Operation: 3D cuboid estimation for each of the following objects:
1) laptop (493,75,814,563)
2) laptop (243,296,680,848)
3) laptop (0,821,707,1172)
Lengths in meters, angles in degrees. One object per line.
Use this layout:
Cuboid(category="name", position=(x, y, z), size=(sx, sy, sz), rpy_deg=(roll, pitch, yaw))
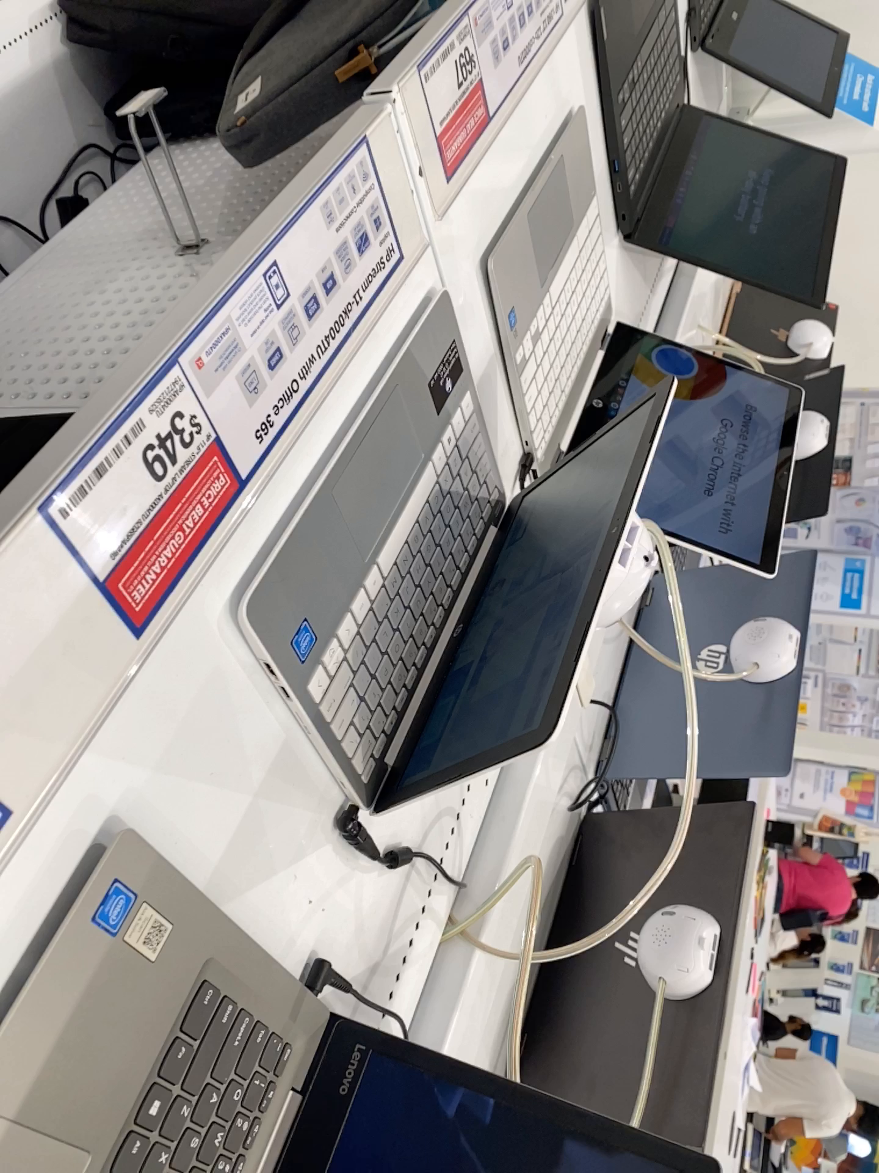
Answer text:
Cuboid(category="laptop", position=(0.205, -0.221, 0.784), size=(0.298, 0.189, 0.258), rpy_deg=(70, 35, -45))
Cuboid(category="laptop", position=(0.042, -0.020, 0.549), size=(0.181, 0.139, 0.277), rpy_deg=(69, 36, -43))
Cuboid(category="laptop", position=(-0.047, 0.321, 0.327), size=(0.276, 0.212, 0.327), rpy_deg=(68, 36, -45))
